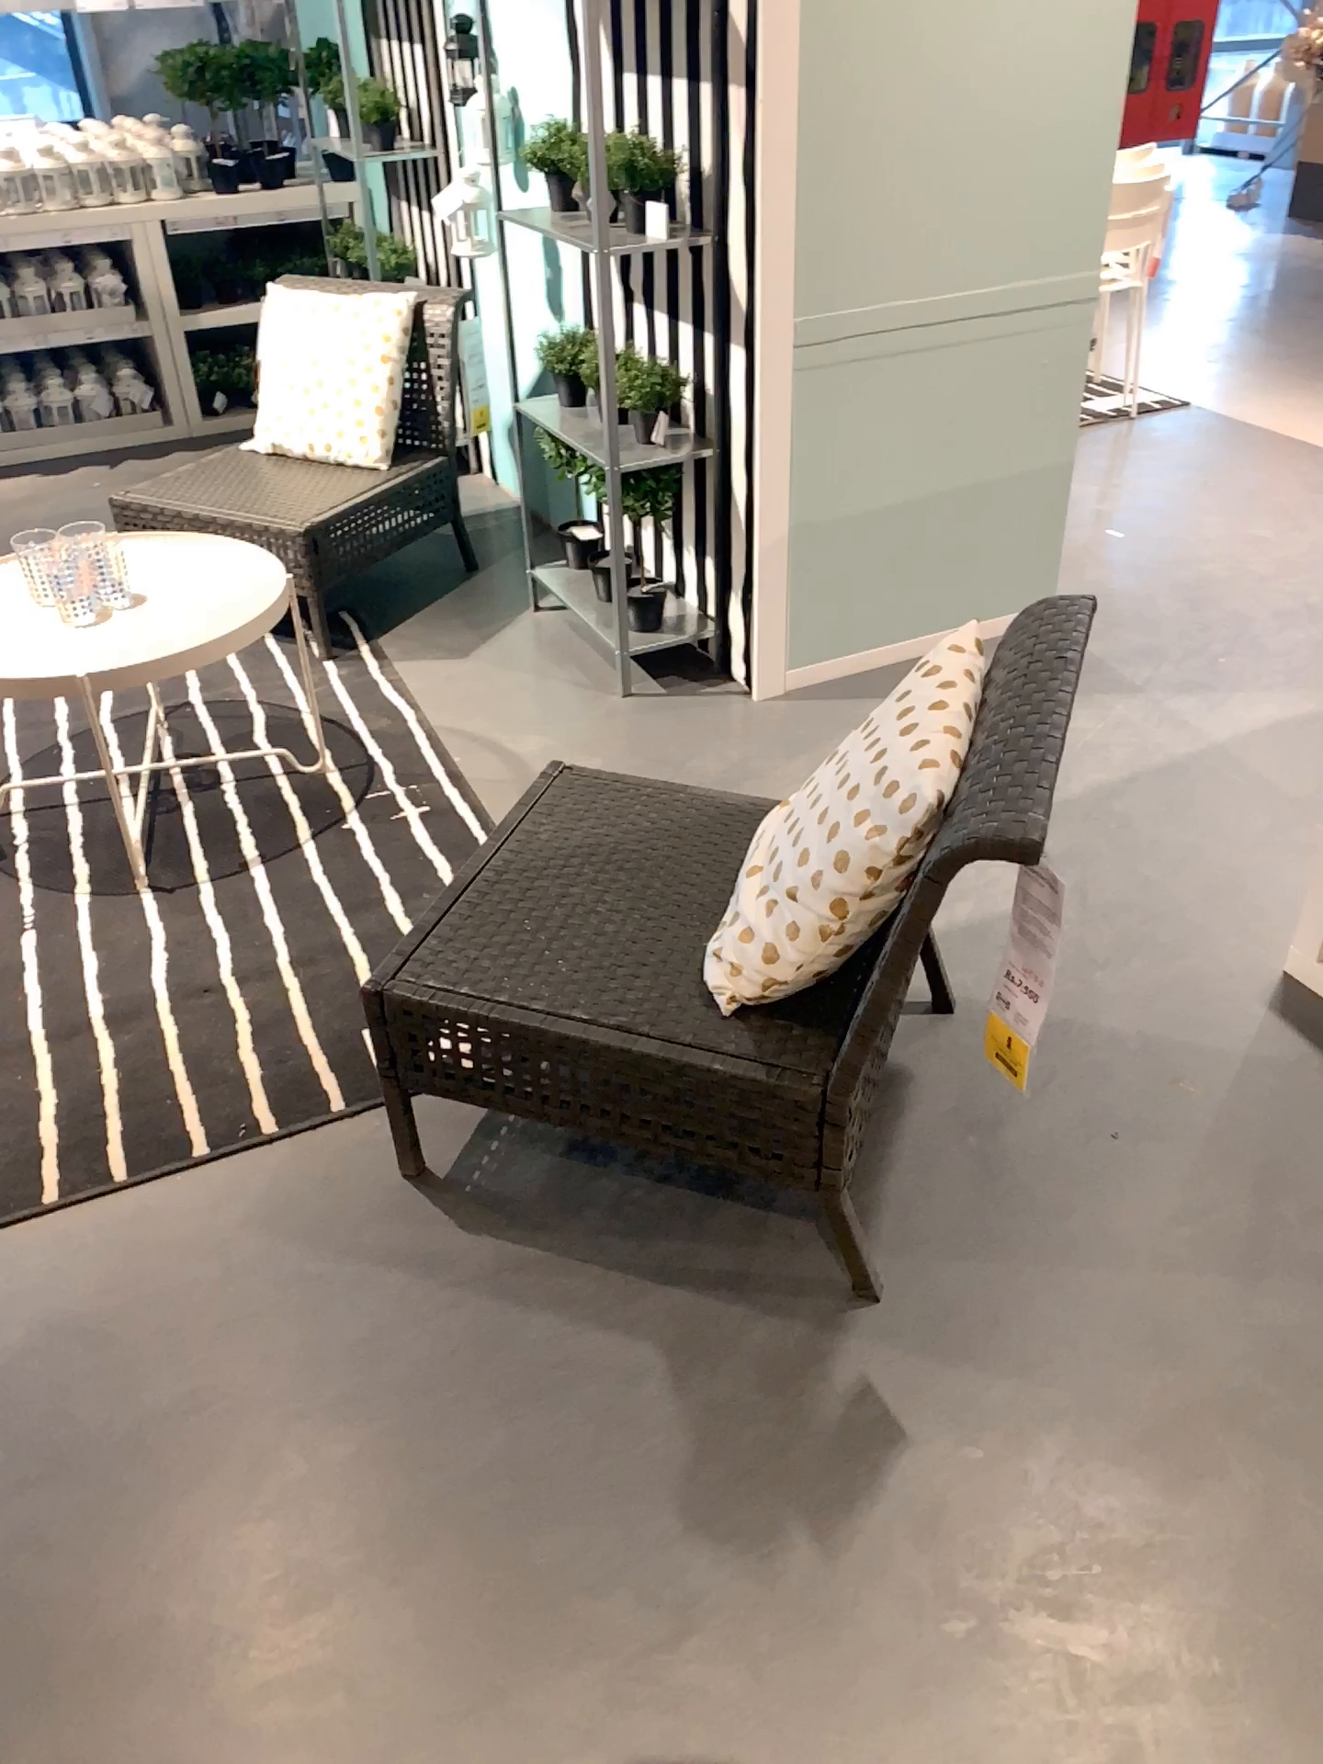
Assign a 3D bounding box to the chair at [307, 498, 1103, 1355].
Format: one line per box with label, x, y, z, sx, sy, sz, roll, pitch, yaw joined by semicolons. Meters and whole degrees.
chair;0.108;0.008;1.854;0.781;0.797;0.702;11;36;18
